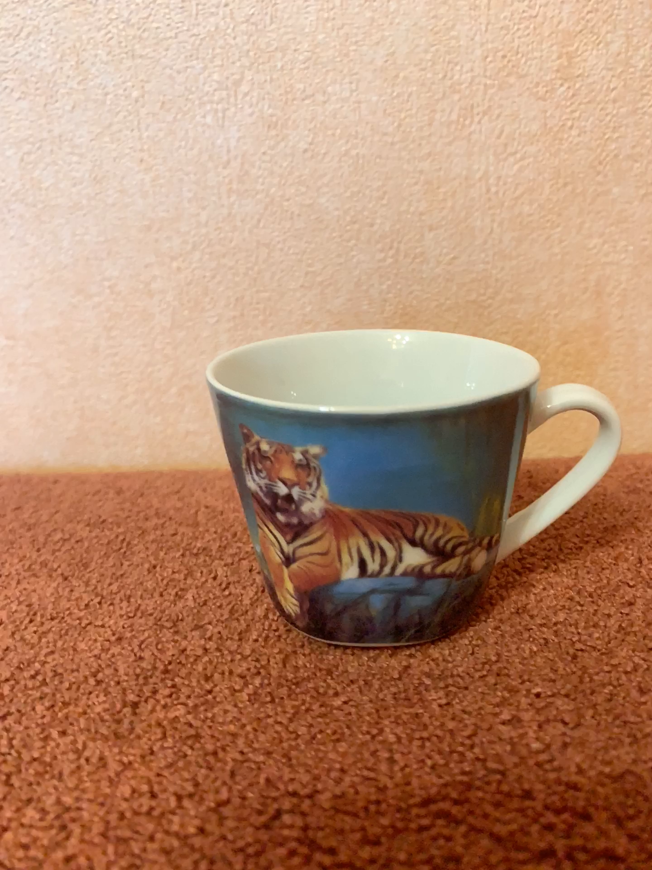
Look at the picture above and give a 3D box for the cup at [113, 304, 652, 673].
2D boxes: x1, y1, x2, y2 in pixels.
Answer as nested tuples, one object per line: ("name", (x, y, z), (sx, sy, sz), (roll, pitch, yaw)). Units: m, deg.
("cup", (0.014, 0.005, 0.143), (0.083, 0.048, 0.072), (-2, 20, 8))
